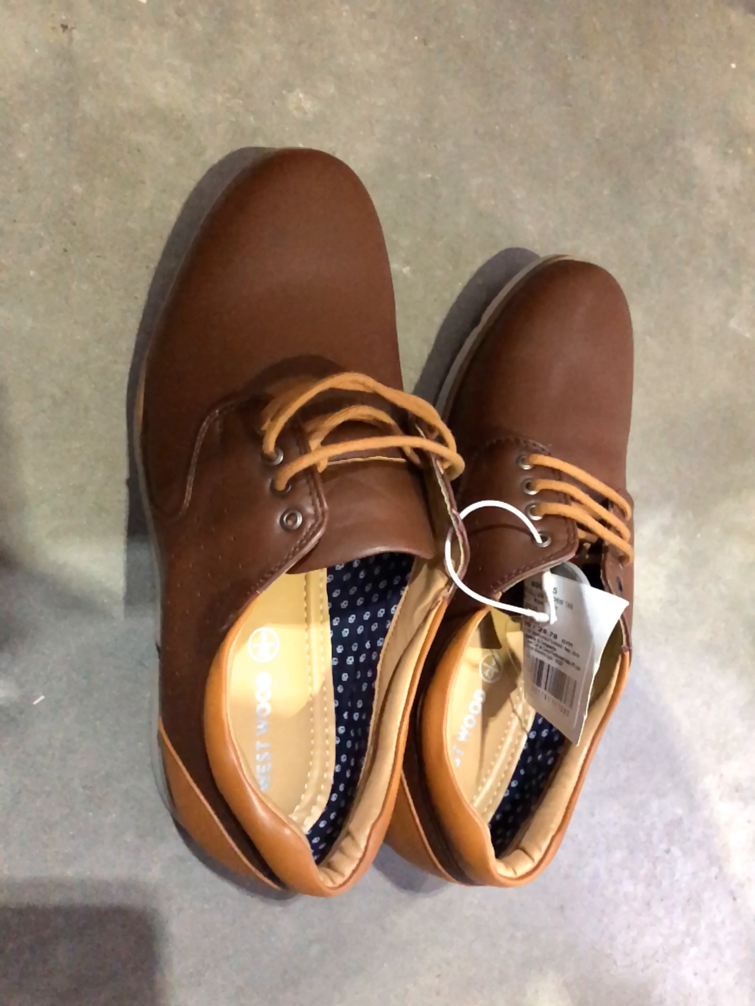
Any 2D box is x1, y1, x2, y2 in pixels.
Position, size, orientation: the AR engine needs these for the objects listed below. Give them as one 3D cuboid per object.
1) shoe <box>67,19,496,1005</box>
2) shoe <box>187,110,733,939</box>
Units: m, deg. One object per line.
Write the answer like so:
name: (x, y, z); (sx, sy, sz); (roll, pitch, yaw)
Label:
shoe: (-0.040, 0.004, 0.313); (0.110, 0.120, 0.280); (5, 84, -26)
shoe: (0.039, 0.007, 0.393); (0.120, 0.130, 0.310); (24, 76, -23)
